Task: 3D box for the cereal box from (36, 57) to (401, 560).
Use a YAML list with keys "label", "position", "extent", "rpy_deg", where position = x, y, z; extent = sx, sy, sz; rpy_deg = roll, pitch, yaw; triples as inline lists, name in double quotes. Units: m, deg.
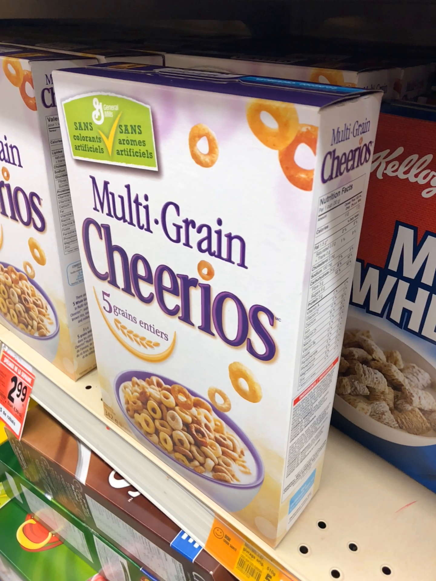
- label: "cereal box"
  position: [-0.015, 0.008, 0.320]
  extent: [0.201, 0.278, 0.060]
  rpy_deg: [25, 38, 35]
